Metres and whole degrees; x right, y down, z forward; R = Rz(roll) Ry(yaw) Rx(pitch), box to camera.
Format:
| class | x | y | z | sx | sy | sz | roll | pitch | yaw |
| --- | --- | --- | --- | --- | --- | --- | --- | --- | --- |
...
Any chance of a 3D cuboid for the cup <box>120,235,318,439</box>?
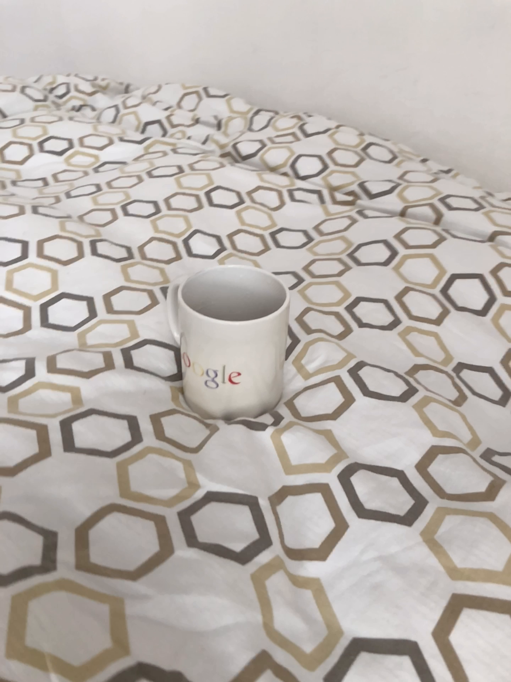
| class | x | y | z | sx | sy | sz | roll | pitch | yaw |
| --- | --- | --- | --- | --- | --- | --- | --- | --- | --- |
| cup | -0.030 | -0.010 | 0.436 | 0.087 | 0.087 | 0.126 | -25 | 42 | -33 |
